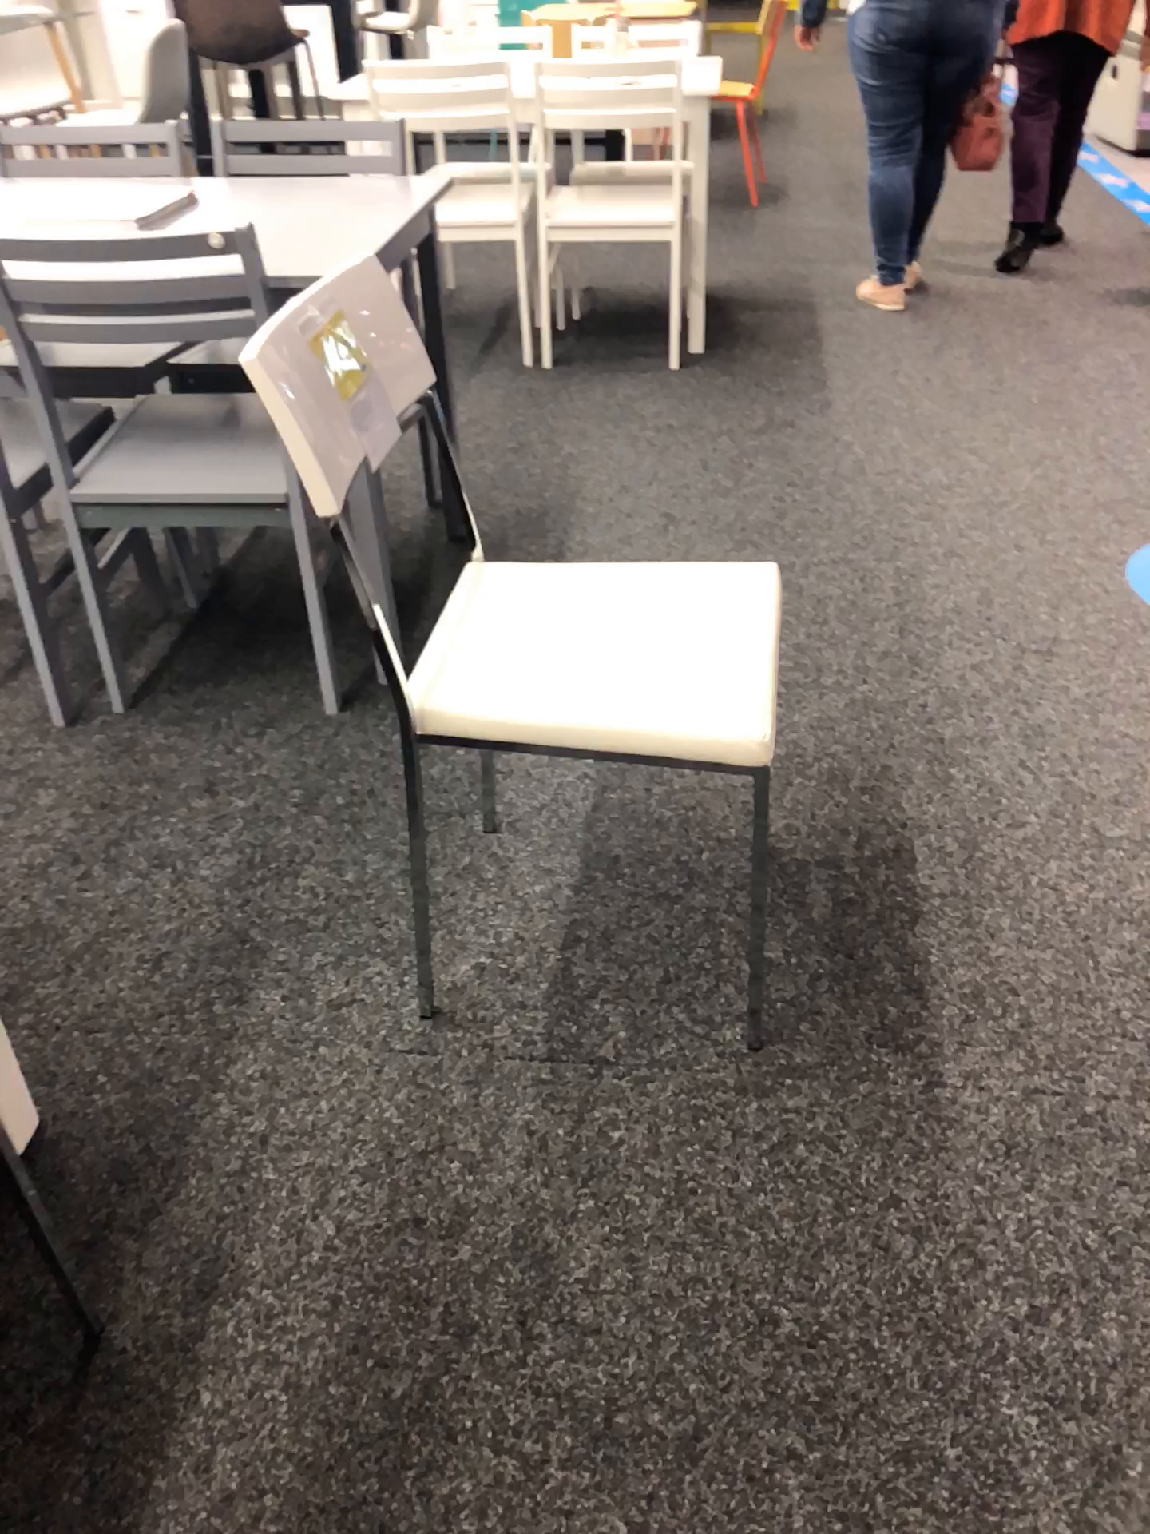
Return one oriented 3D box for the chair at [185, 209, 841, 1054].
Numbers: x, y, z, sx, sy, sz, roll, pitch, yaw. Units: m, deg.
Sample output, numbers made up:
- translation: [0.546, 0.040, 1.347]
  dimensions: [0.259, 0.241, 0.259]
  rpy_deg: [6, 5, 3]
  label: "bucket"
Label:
- translation: [-0.020, -0.156, 1.458]
  dimensions: [0.540, 0.815, 0.503]
  rpy_deg: [2, 34, 6]
  label: "chair"
